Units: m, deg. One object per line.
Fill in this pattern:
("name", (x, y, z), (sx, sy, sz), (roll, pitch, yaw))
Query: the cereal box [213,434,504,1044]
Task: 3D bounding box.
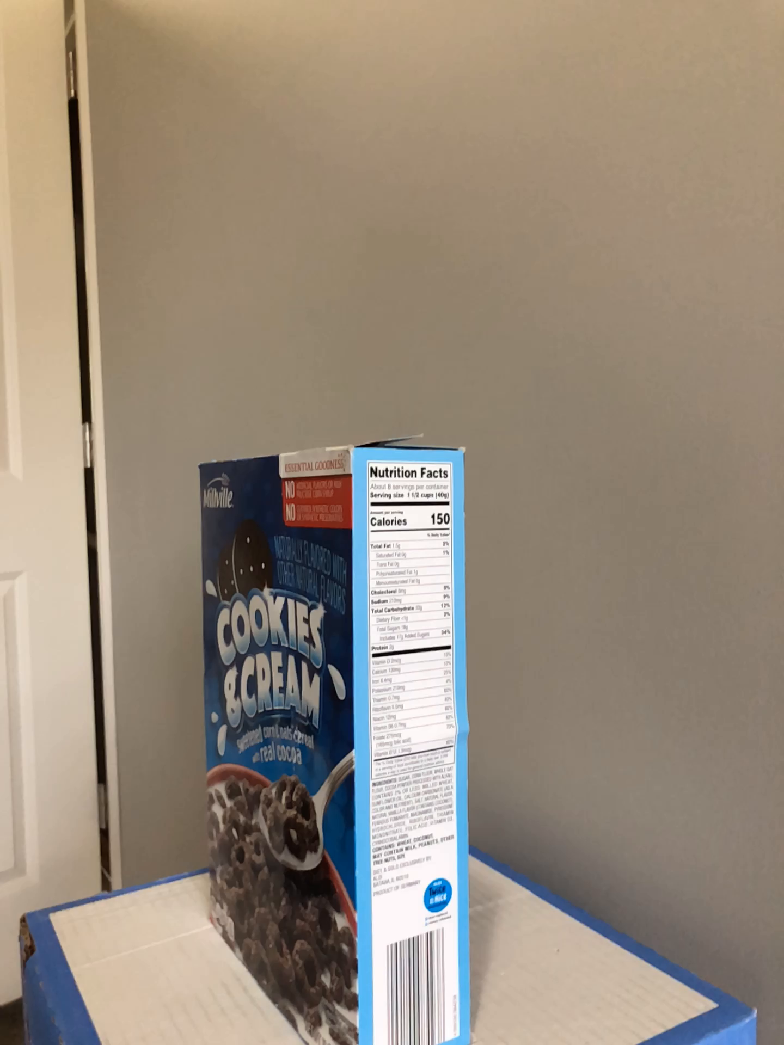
("cereal box", (-0.030, 0.114, 0.482), (0.070, 0.310, 0.200), (-1, 1, -31))
